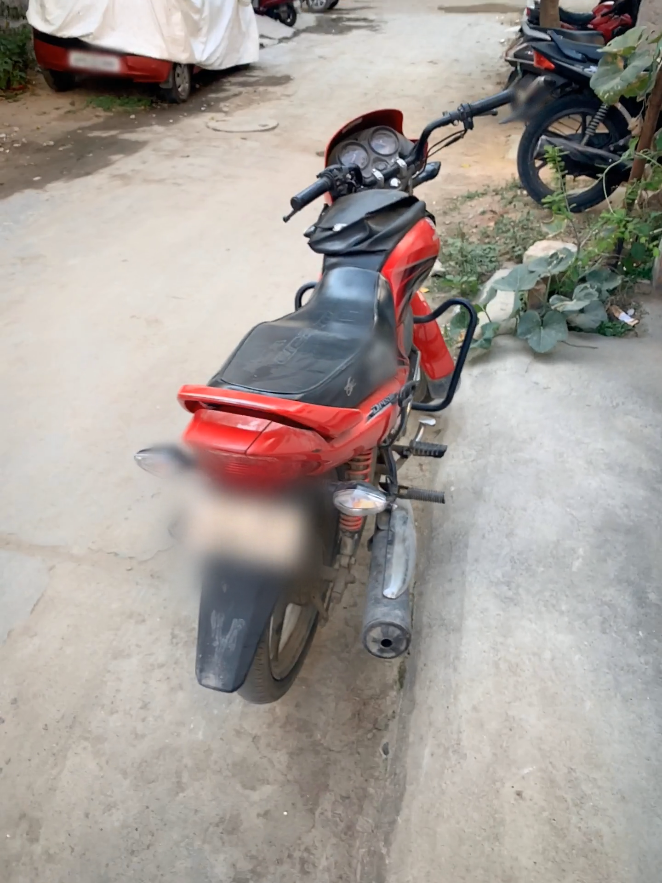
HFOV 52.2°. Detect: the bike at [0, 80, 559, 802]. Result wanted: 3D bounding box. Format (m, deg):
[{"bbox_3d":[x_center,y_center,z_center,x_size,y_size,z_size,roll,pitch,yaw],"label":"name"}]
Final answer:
[{"bbox_3d":[-0.010,-0.226,1.835,0.758,1.091,1.717,5,37,6],"label":"bike"}]
